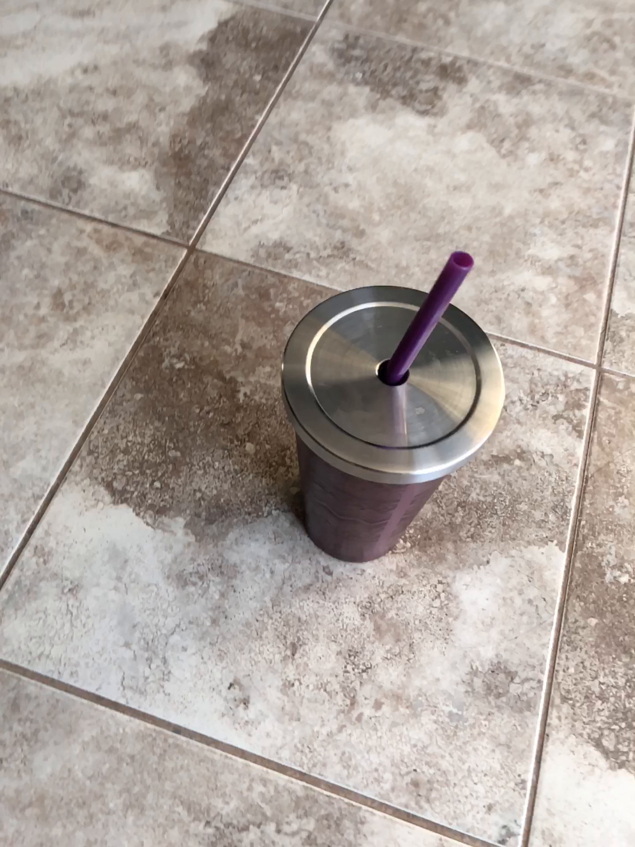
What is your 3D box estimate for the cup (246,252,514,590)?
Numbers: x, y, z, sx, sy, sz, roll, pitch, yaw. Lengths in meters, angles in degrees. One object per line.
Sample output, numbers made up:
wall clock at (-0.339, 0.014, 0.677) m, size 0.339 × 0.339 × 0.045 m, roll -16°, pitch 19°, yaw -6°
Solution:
cup at (0.028, 0.009, 0.396) m, size 0.111 × 0.165 × 0.102 m, roll 2°, pitch 60°, yaw -3°
